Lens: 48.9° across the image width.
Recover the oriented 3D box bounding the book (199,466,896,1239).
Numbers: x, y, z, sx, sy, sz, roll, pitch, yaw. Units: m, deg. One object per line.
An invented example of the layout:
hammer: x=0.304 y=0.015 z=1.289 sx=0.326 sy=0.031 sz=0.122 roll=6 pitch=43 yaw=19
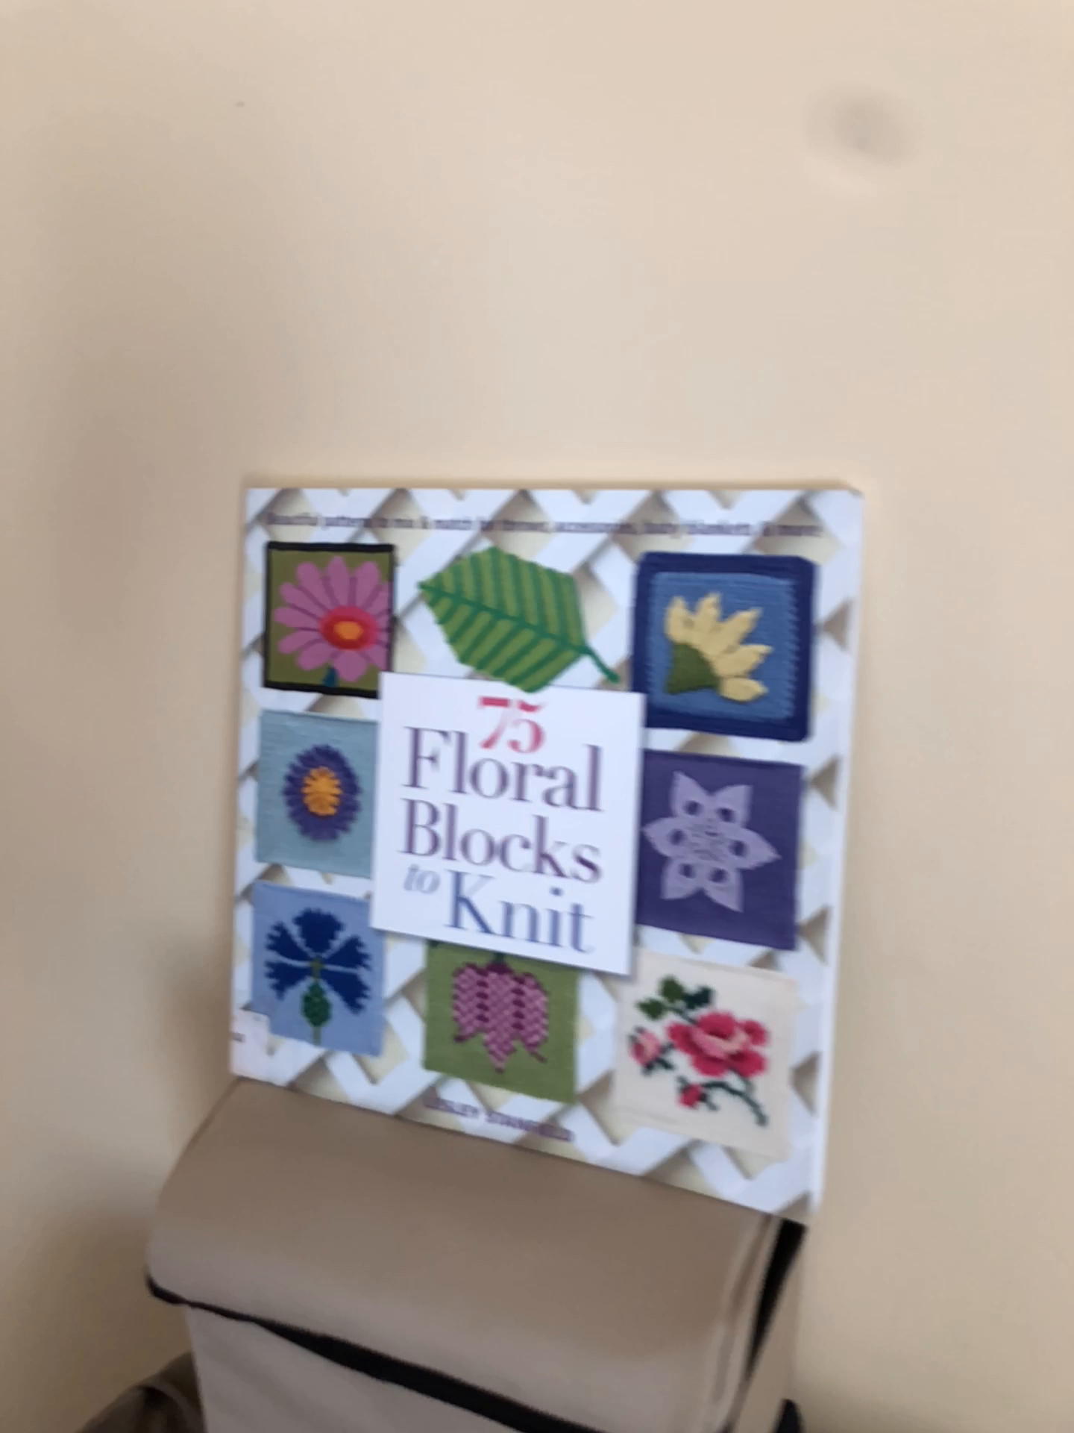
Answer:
book: x=-0.008 y=0.032 z=0.385 sx=0.218 sy=0.215 sz=0.020 roll=7 pitch=5 yaw=22
